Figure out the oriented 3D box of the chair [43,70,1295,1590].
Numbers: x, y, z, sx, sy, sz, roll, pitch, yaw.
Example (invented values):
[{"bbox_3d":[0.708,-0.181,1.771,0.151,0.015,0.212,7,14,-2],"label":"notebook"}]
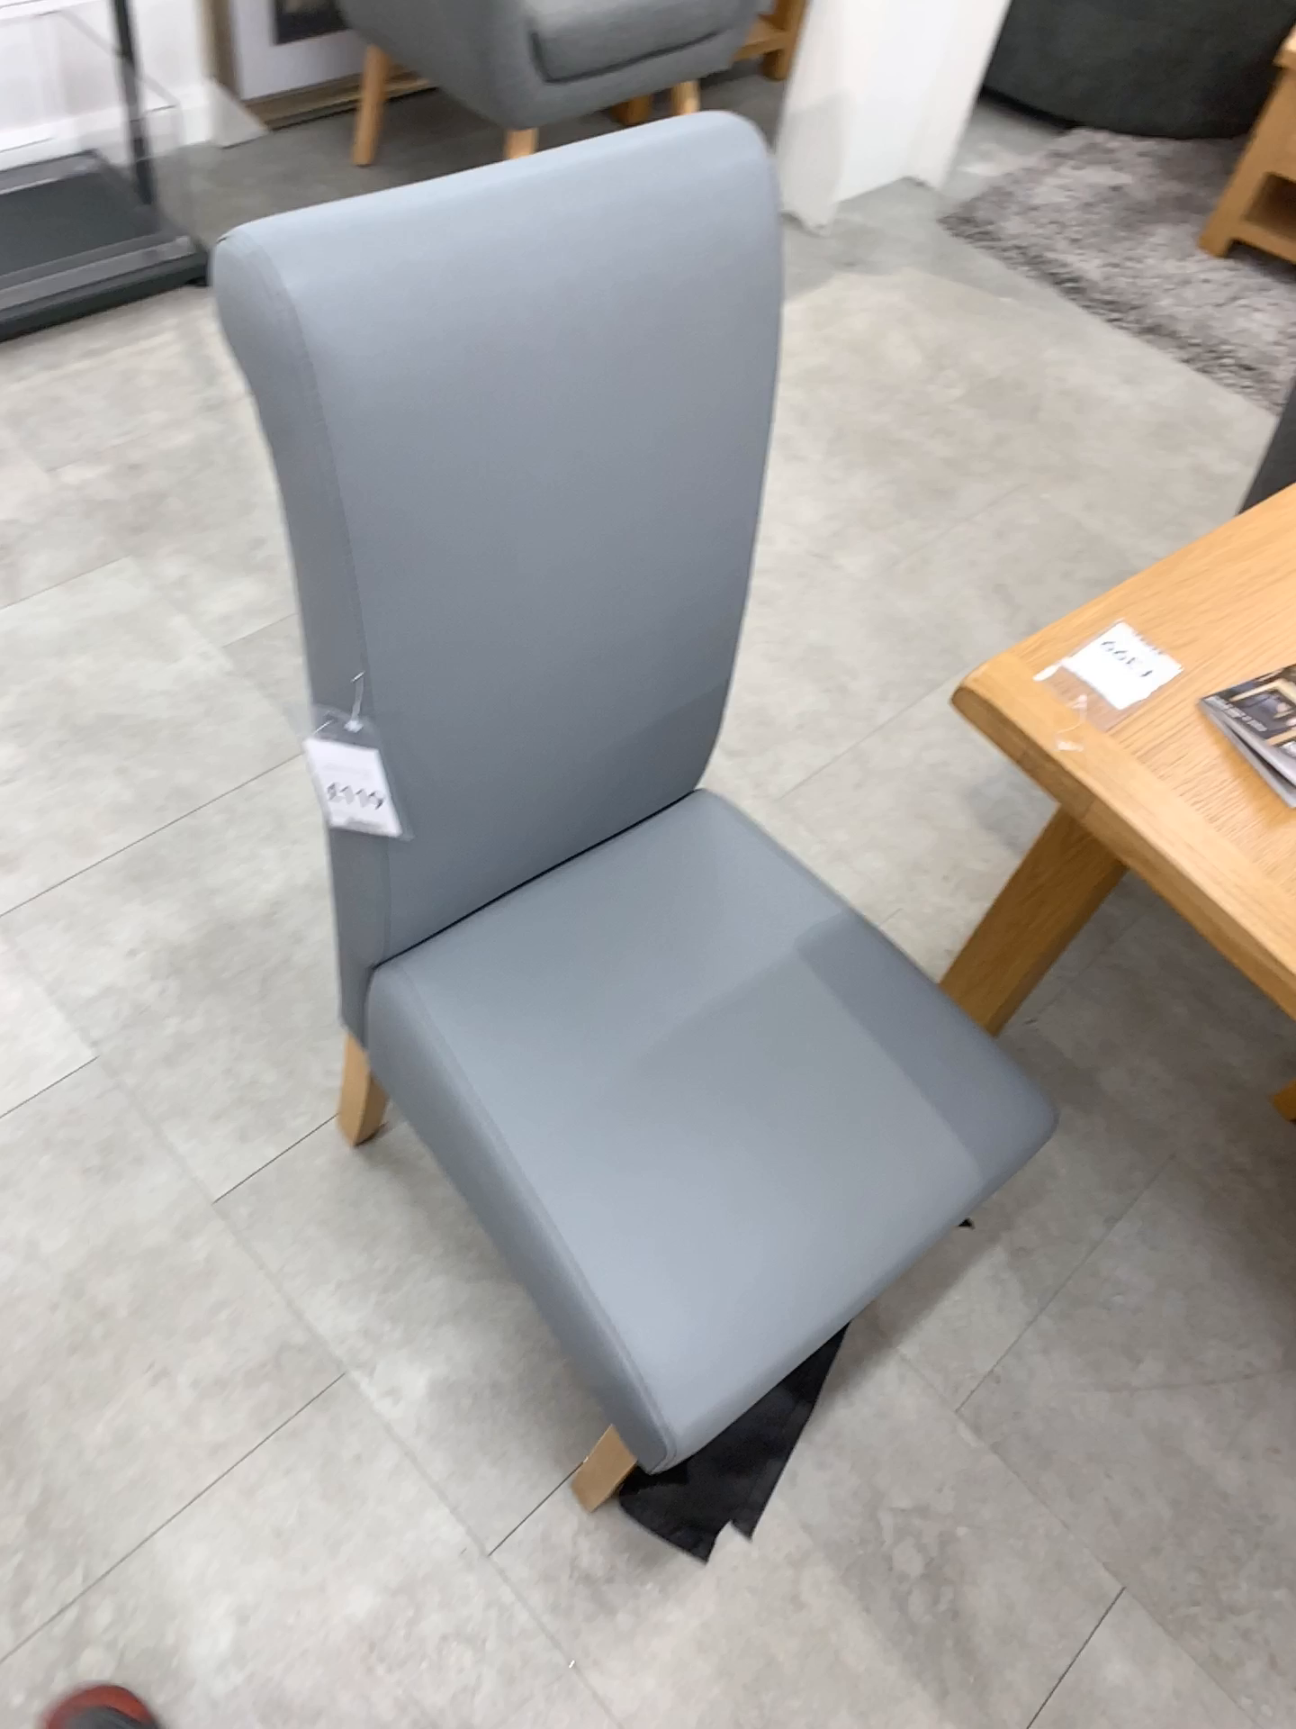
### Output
[{"bbox_3d":[-0.001,0.047,1.038,0.474,0.908,0.656,-30,65,-28],"label":"chair"}]
